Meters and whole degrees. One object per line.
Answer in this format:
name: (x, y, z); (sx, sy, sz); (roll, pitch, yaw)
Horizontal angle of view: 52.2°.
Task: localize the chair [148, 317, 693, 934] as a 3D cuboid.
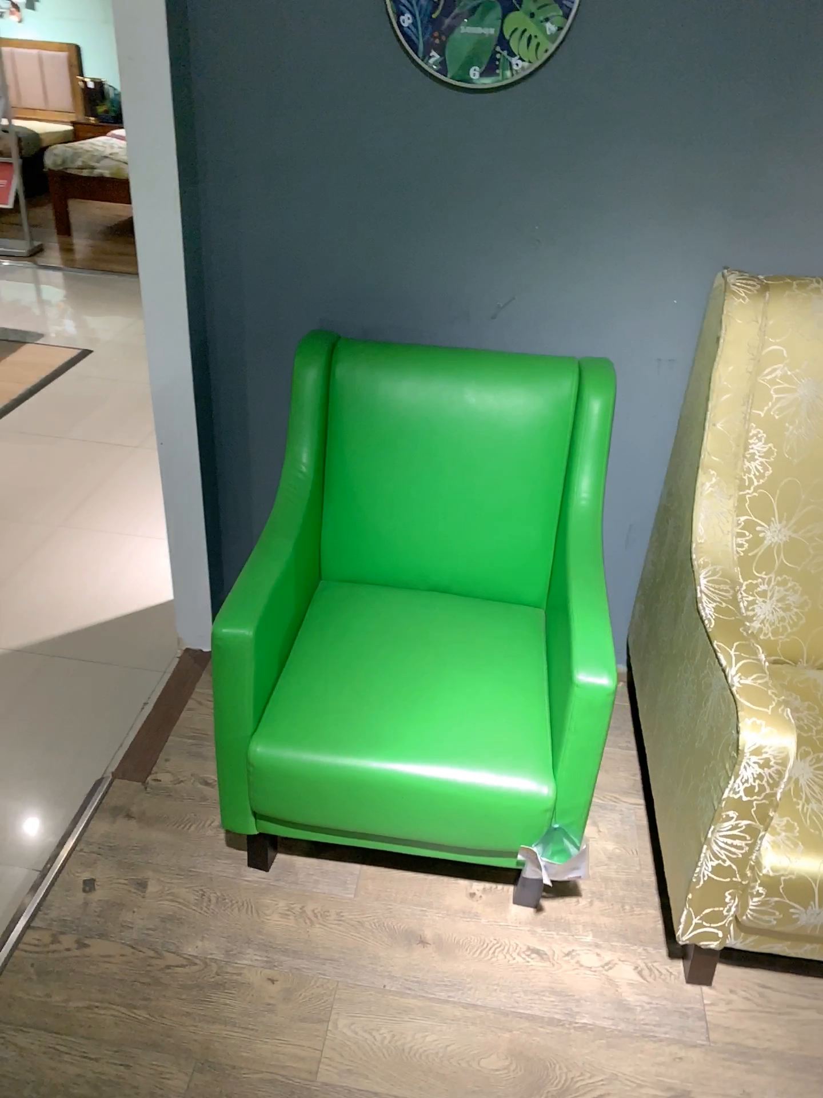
chair: (0.026, 0.090, 1.636); (0.710, 0.787, 0.813); (7, 32, 4)
